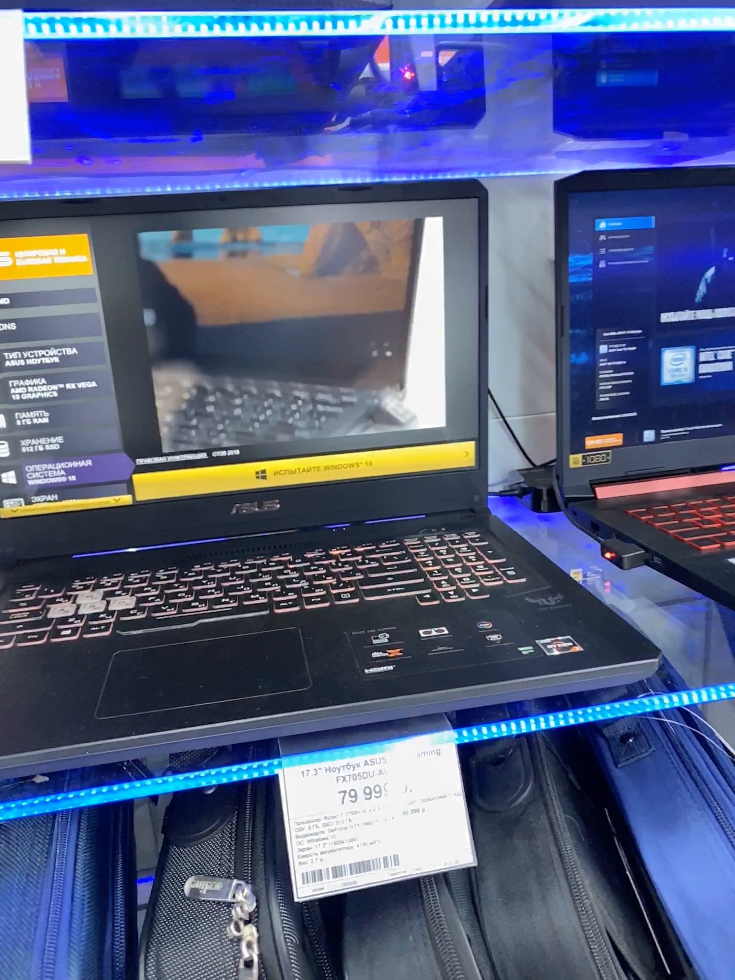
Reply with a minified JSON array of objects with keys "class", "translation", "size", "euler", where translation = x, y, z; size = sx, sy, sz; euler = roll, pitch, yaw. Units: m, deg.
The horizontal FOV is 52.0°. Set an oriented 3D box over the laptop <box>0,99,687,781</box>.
[{"class":"laptop","translation":[-0.075,-0.054,0.456],"size":[0.397,0.265,0.270],"euler":[-6,15,-9]}]
